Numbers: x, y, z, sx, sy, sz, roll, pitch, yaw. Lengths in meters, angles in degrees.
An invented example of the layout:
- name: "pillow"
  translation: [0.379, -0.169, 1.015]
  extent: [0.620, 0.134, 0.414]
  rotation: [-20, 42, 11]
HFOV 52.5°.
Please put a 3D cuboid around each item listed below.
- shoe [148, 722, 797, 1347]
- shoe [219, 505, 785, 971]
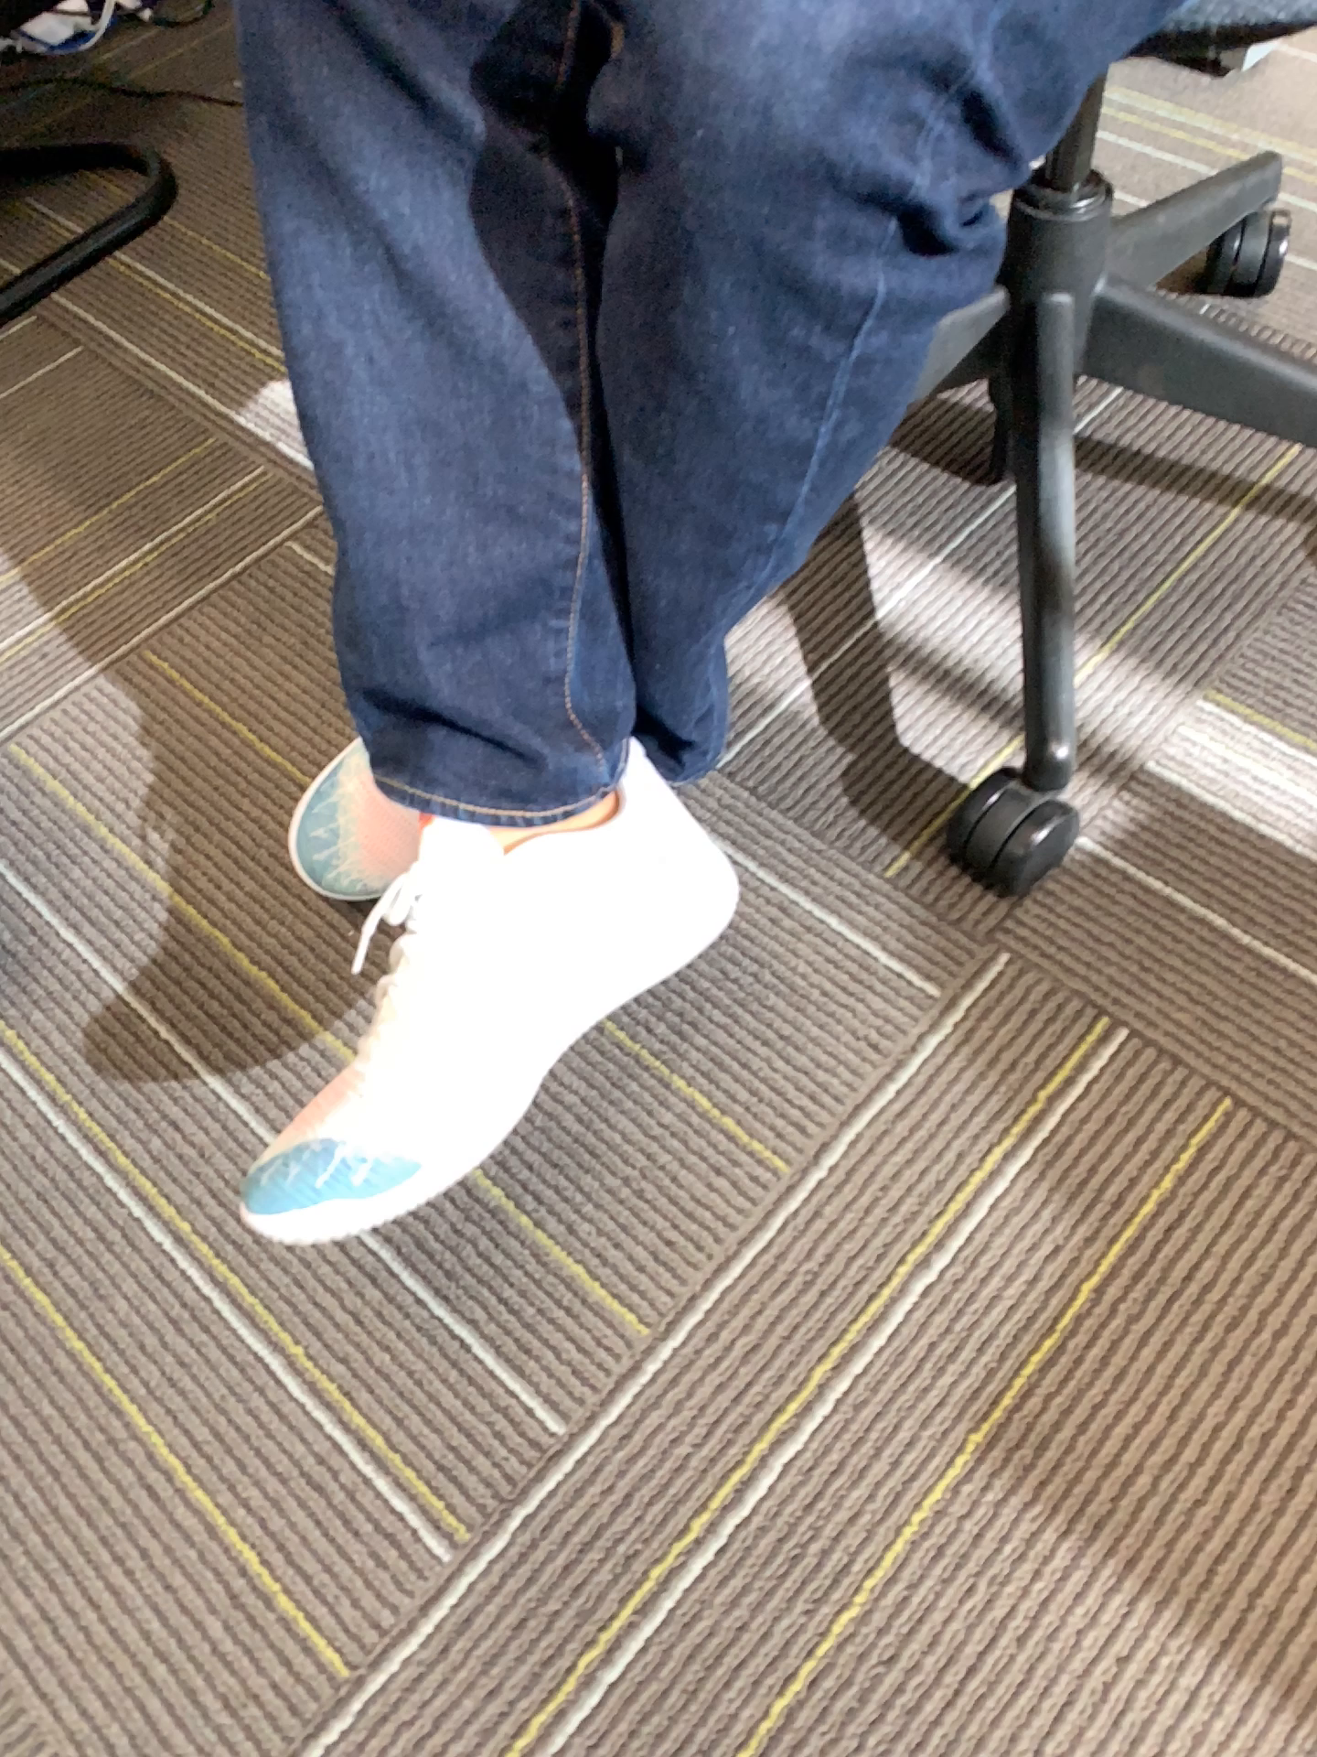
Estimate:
- name: "shoe"
  translation: [-0.085, 0.061, 0.614]
  extent: [0.265, 0.108, 0.113]
  rotation: [-42, 102, -13]
- name: "shoe"
  translation: [-0.087, -0.078, 0.766]
  extent: [0.286, 0.109, 0.115]
  rotation: [-33, 88, -15]
